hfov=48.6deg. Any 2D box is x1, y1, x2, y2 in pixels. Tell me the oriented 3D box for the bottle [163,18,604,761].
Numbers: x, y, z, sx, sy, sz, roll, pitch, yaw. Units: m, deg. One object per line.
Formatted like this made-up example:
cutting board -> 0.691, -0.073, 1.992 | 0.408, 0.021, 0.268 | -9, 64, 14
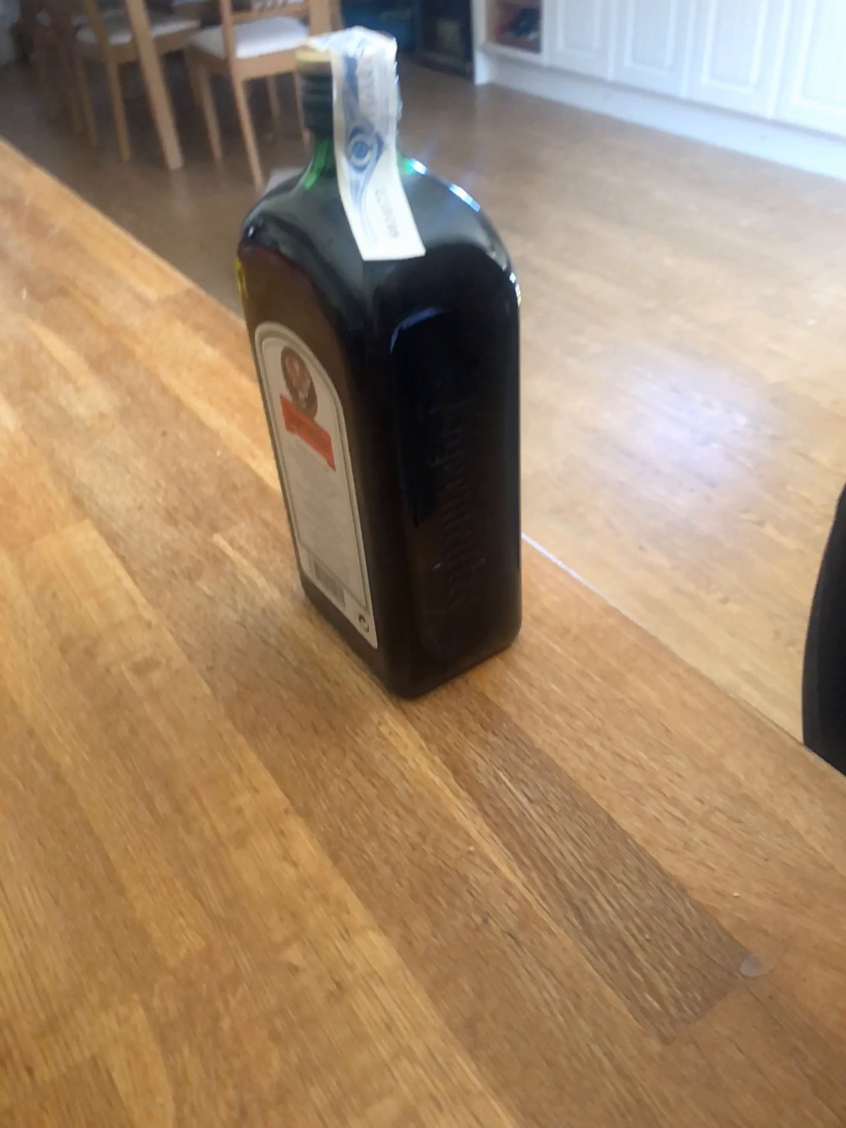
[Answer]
bottle -> -0.007, -0.053, 0.325 | 0.080, 0.218, 0.101 | -26, 44, -23
